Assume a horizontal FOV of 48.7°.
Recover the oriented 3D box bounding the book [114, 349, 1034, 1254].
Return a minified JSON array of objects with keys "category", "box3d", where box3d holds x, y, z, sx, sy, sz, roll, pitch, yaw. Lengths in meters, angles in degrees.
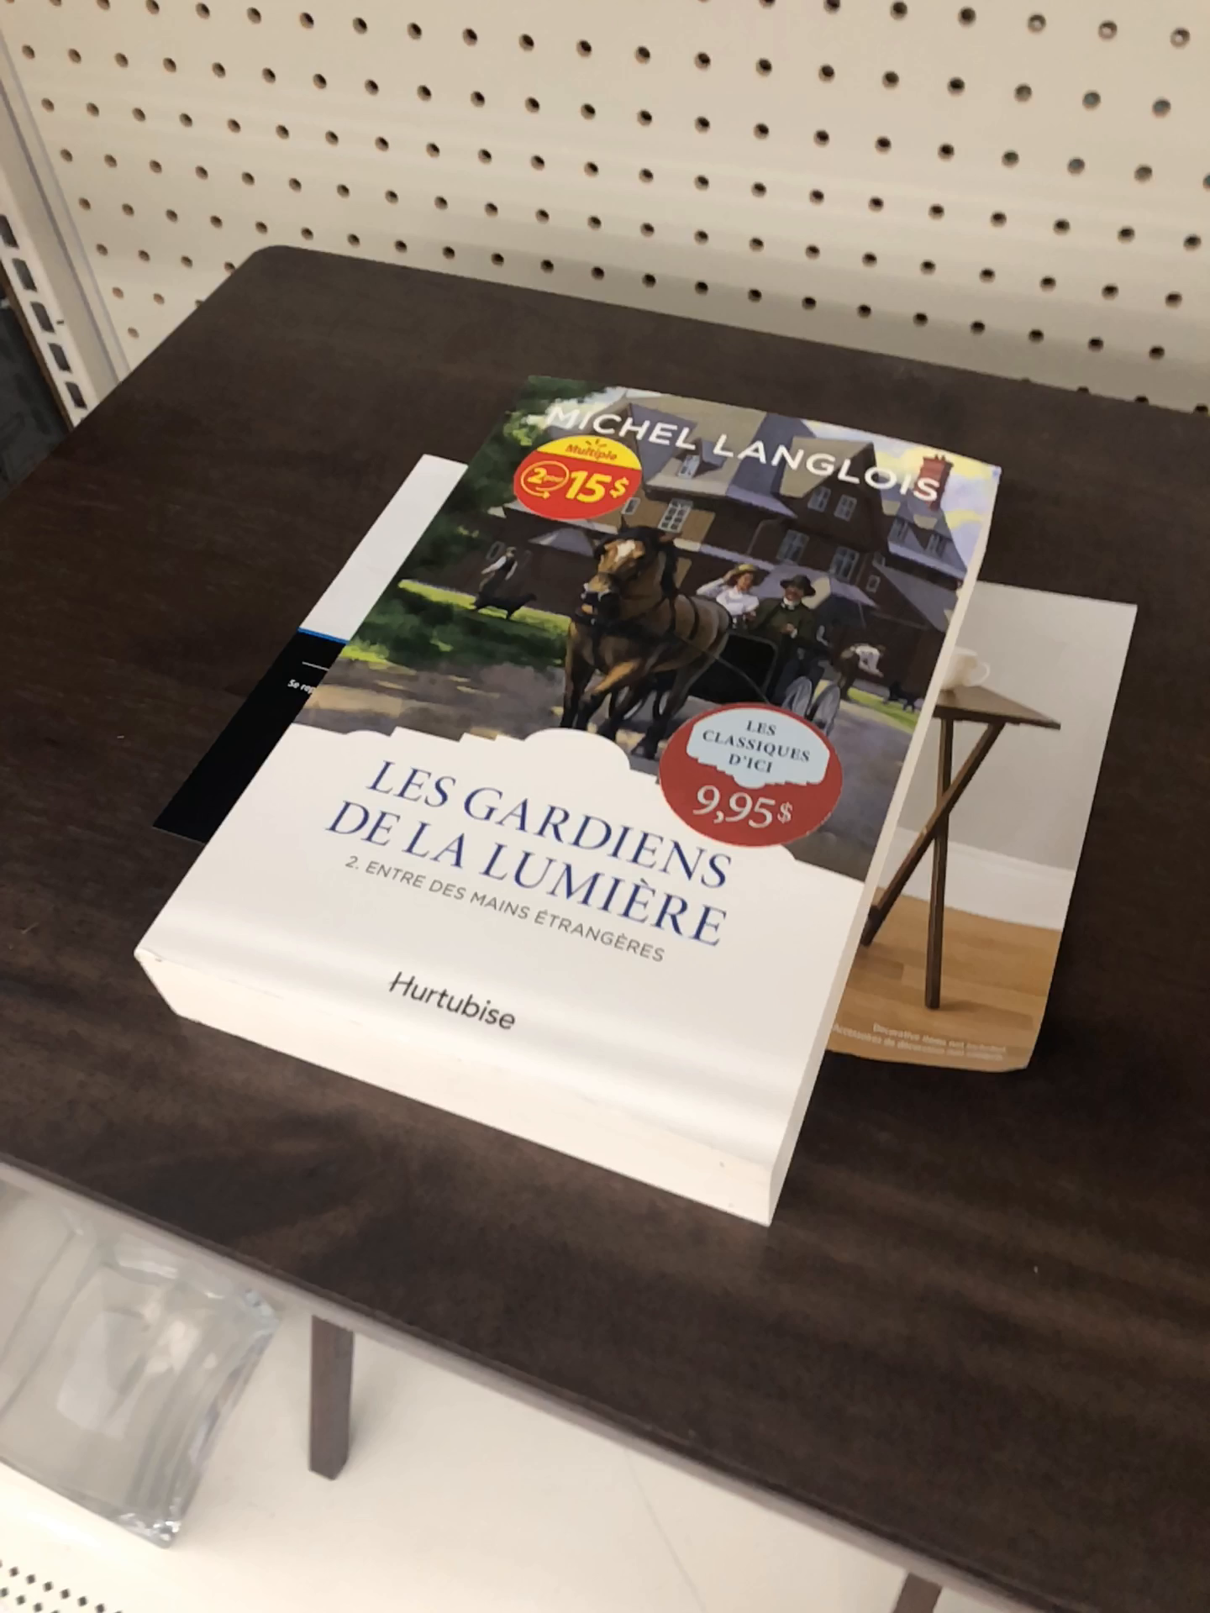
[{"category":"book","box3d":[0.008,-0.025,0.356,0.158,0.039,0.234,16,55,15]}]
